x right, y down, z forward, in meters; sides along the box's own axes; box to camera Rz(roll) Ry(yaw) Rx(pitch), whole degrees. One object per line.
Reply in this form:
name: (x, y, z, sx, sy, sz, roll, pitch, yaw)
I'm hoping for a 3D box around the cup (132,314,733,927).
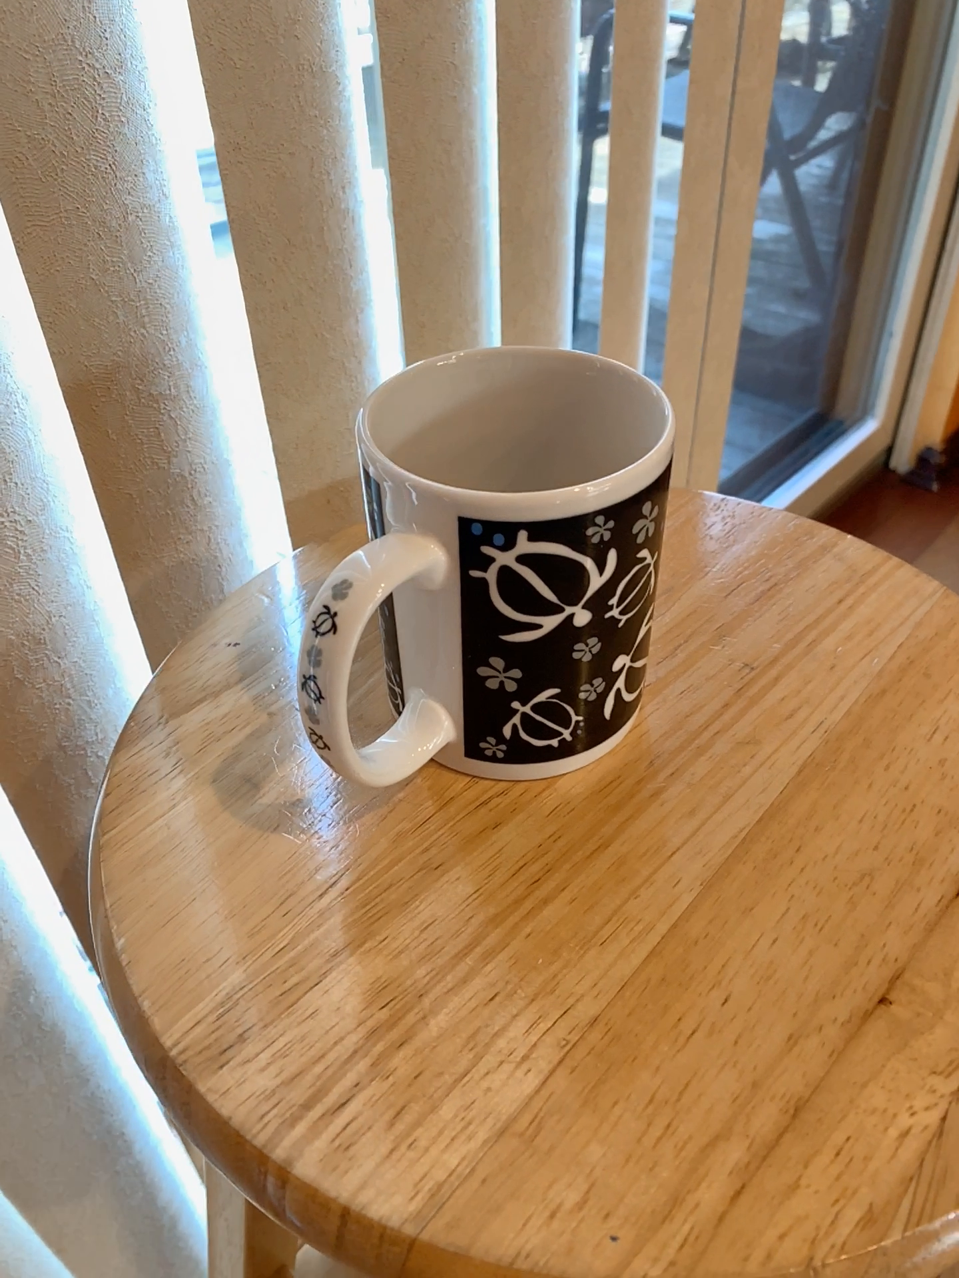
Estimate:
cup: (-0.008, -0.013, 0.277, 0.090, 0.099, 0.120, 31, 50, 34)
